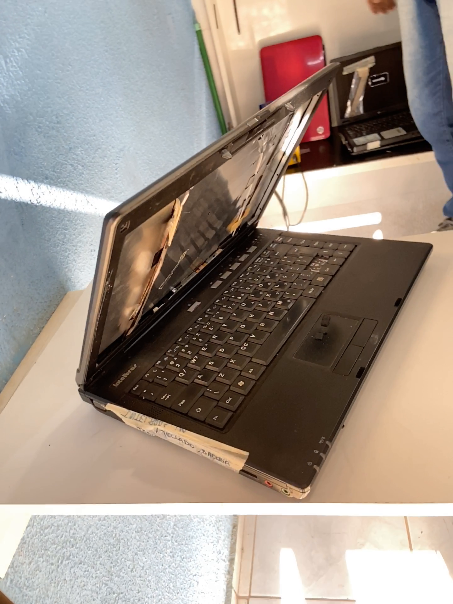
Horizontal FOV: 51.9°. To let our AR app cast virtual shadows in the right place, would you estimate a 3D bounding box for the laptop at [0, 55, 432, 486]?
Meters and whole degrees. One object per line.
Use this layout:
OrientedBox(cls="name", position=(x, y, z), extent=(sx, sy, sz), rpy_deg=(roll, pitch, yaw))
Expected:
OrientedBox(cls="laptop", position=(0.024, -0.066, 0.424), extent=(0.231, 0.191, 0.324), rpy_deg=(10, 41, 34))
